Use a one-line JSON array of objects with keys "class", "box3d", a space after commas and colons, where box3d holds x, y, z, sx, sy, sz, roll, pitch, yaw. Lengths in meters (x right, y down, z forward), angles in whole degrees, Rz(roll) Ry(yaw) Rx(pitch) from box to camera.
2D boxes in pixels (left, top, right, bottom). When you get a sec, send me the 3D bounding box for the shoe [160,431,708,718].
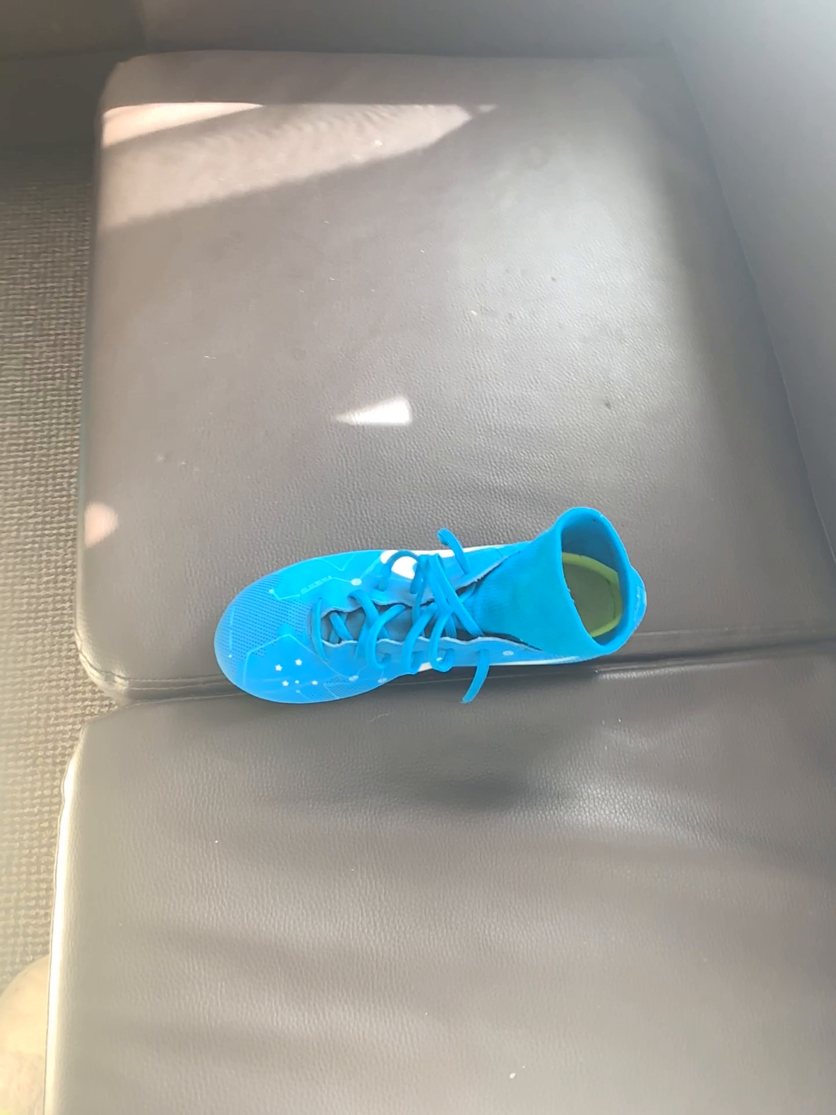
[{"class": "shoe", "box3d": [0.003, 0.015, 0.459, 0.250, 0.120, 0.099, -5, 70, -3]}]
